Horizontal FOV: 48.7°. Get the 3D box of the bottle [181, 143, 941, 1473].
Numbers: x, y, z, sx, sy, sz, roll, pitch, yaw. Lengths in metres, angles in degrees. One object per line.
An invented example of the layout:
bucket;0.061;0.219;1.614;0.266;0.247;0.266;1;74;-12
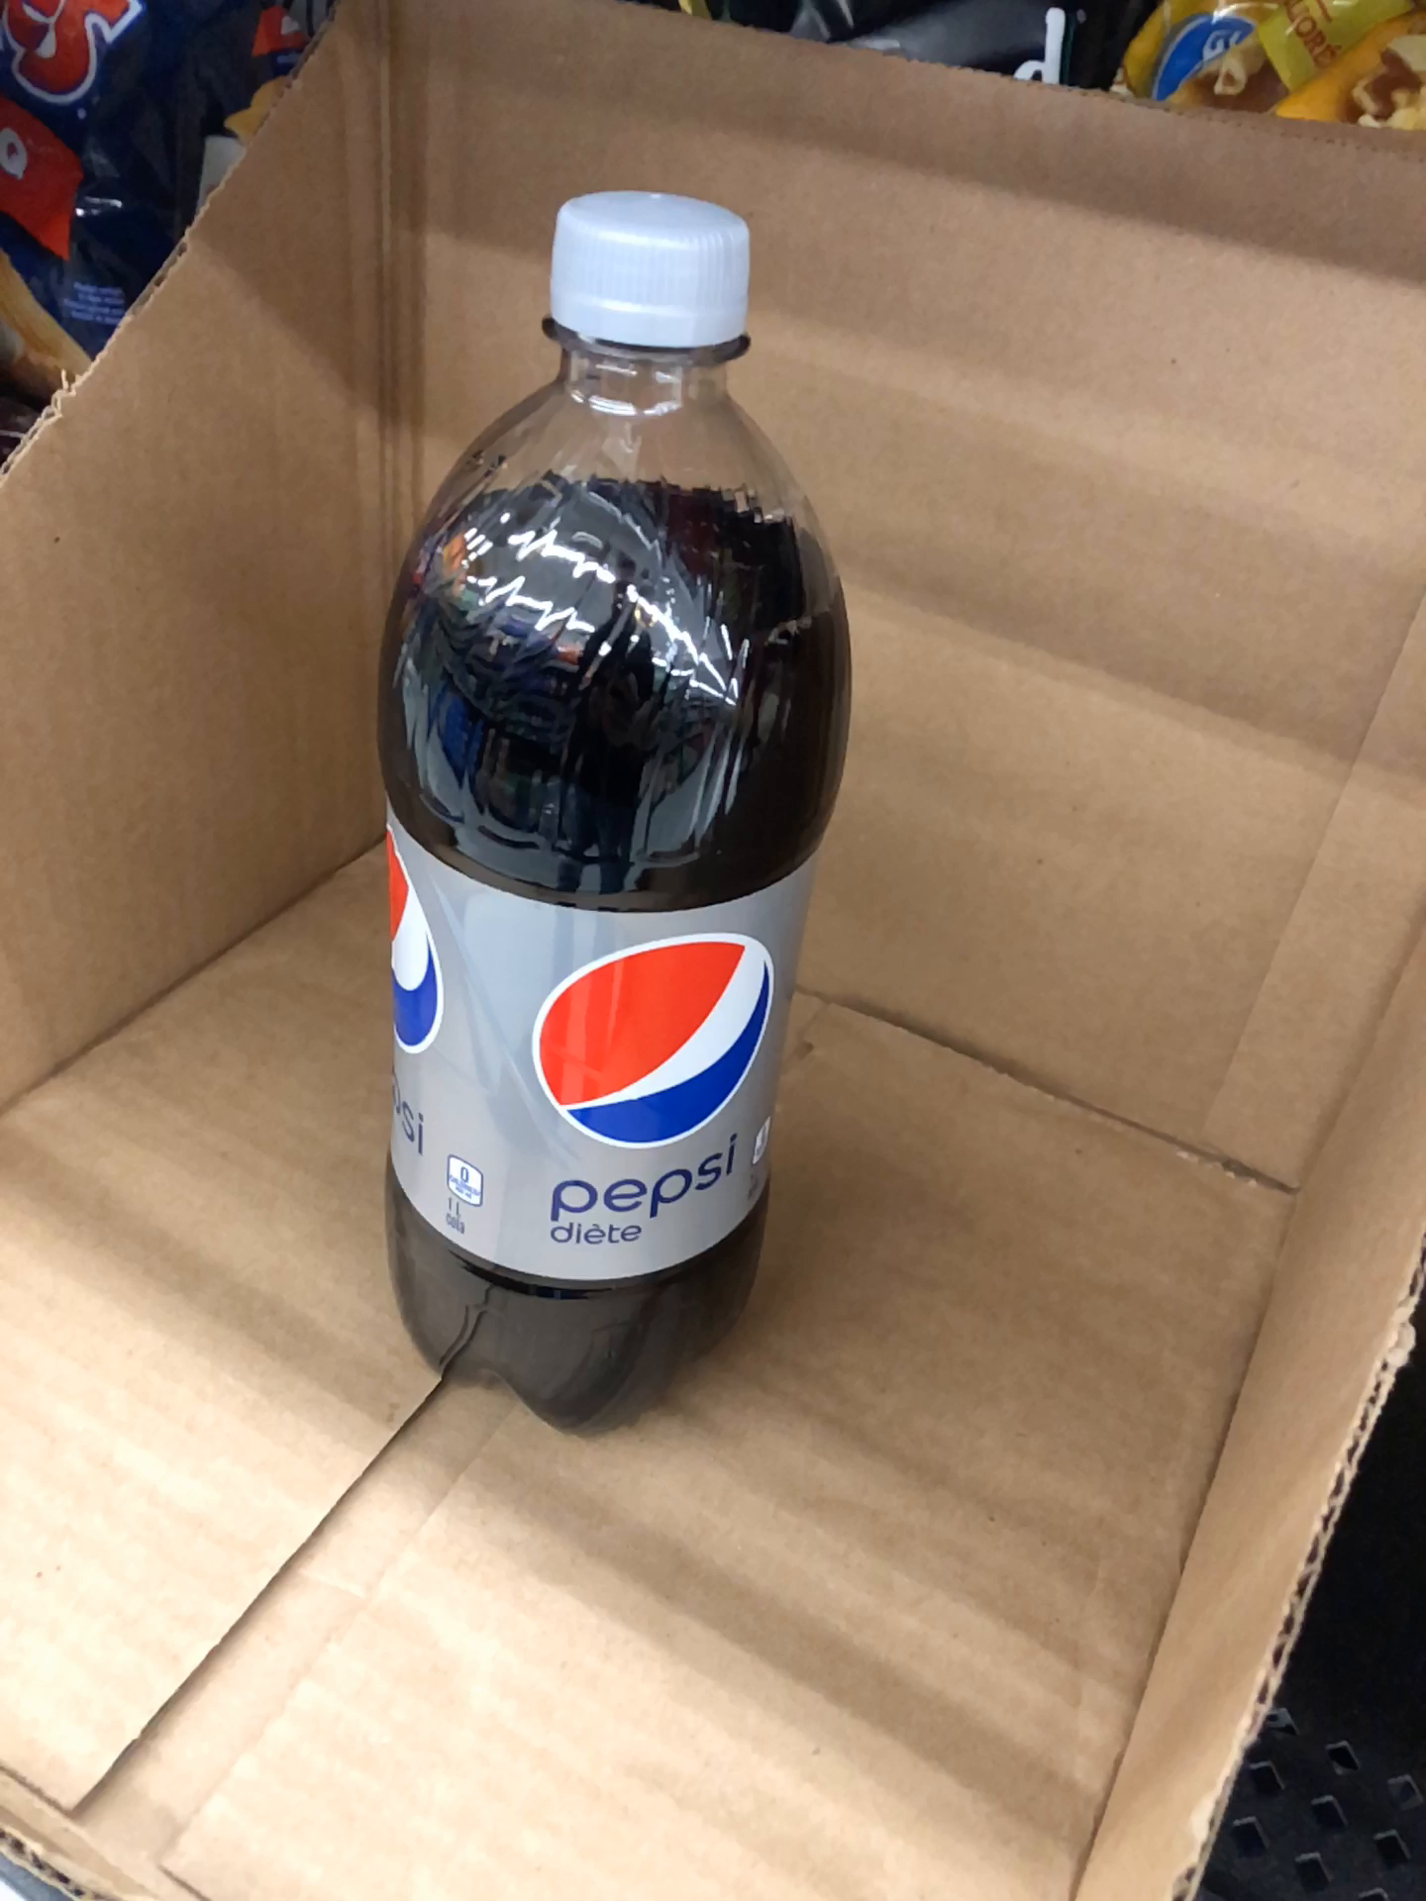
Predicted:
bottle;-0.031;-0.011;0.288;0.090;0.228;0.081;-3;39;-10
